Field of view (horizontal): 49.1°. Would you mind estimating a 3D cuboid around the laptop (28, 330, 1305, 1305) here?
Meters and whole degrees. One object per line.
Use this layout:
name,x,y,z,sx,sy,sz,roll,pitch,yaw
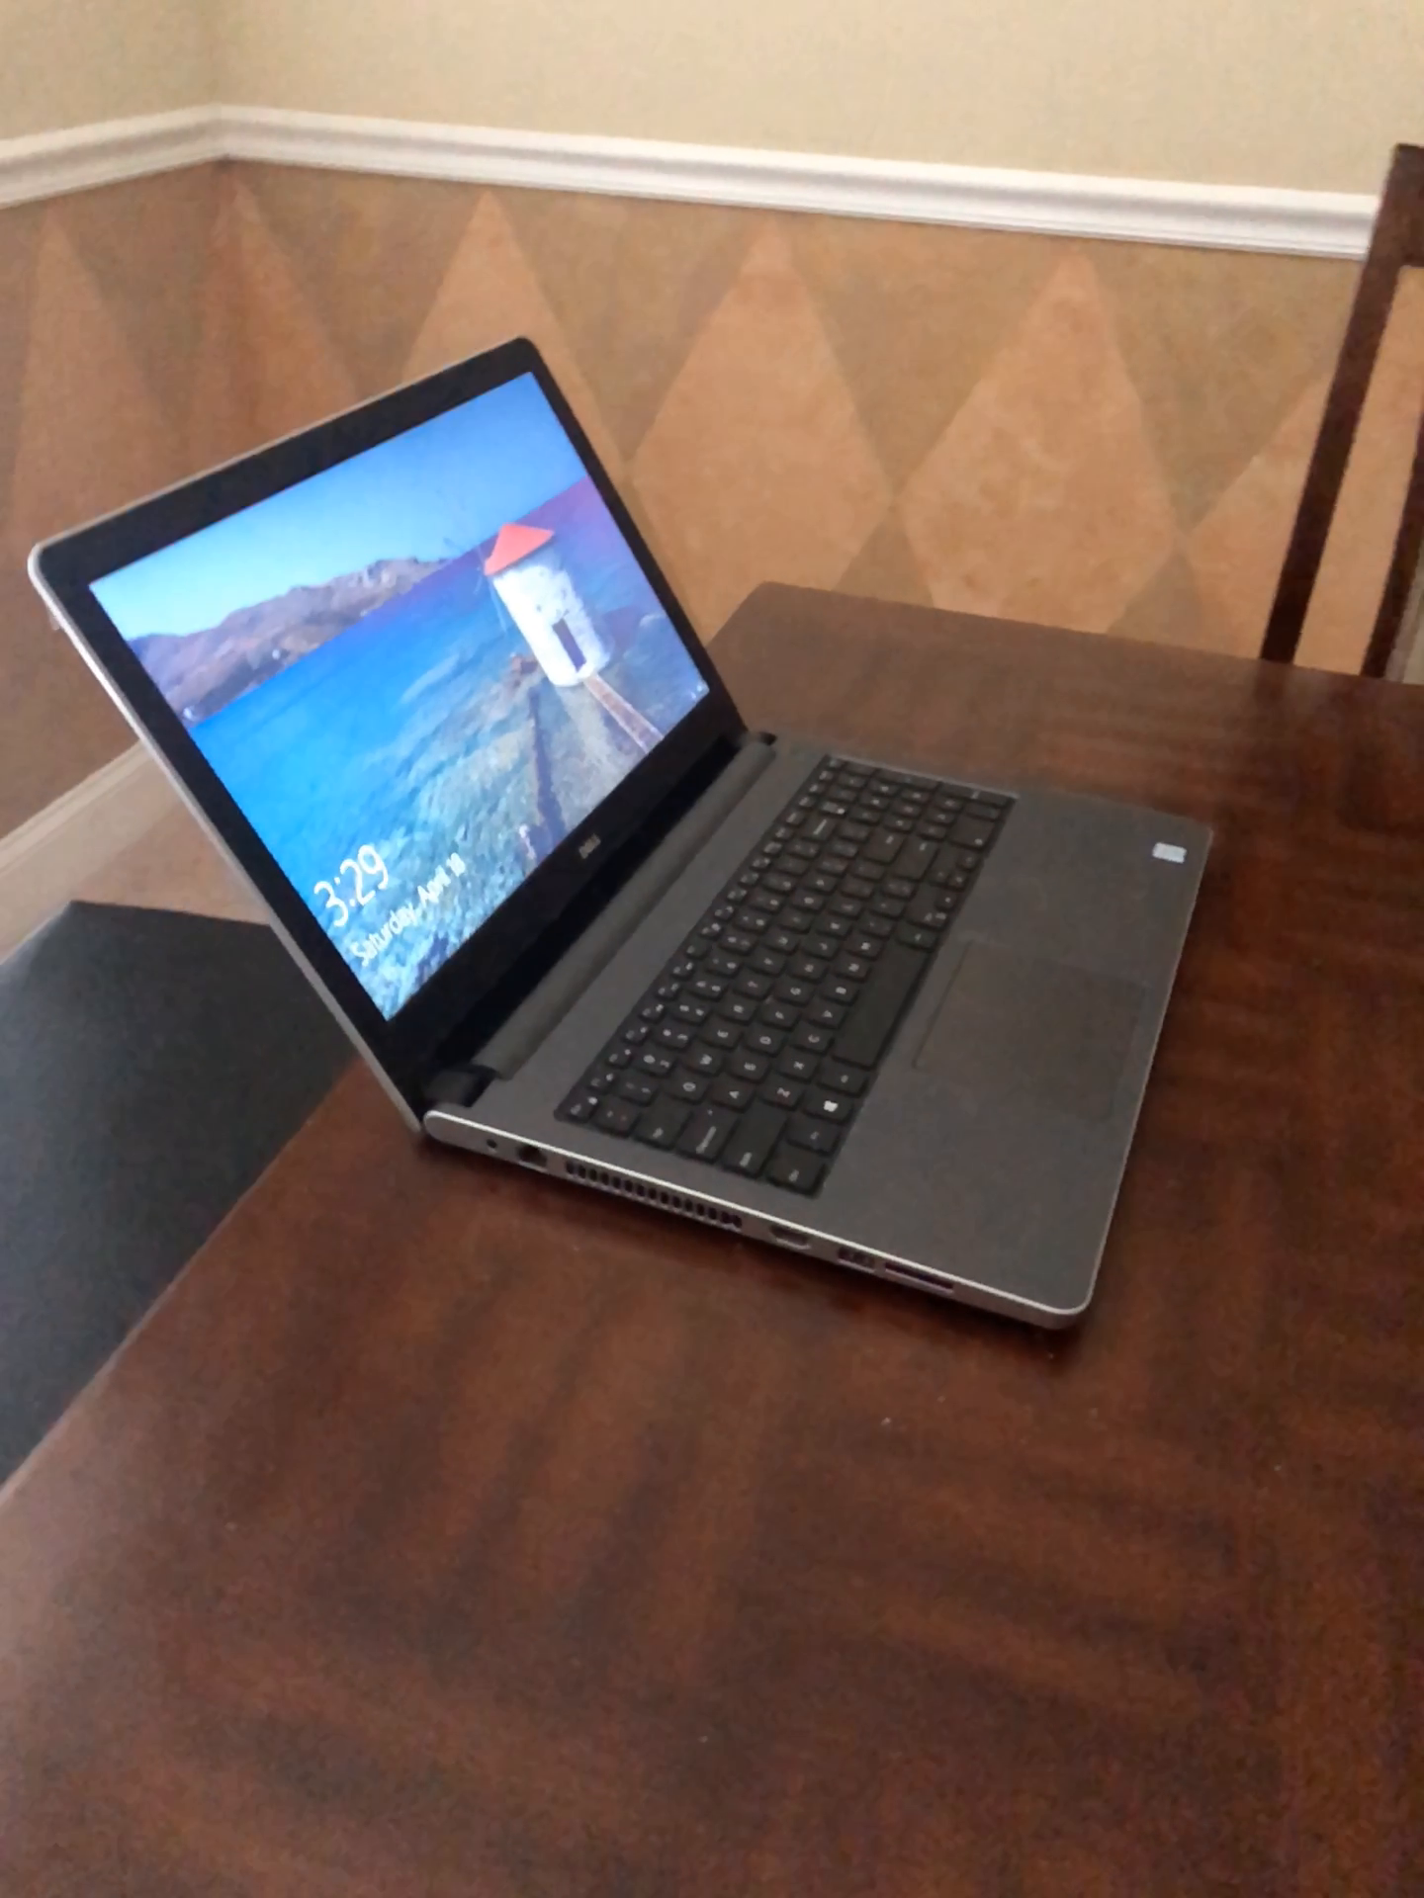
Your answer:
laptop,0.017,-0.101,0.671,0.392,0.198,0.368,14,35,15
